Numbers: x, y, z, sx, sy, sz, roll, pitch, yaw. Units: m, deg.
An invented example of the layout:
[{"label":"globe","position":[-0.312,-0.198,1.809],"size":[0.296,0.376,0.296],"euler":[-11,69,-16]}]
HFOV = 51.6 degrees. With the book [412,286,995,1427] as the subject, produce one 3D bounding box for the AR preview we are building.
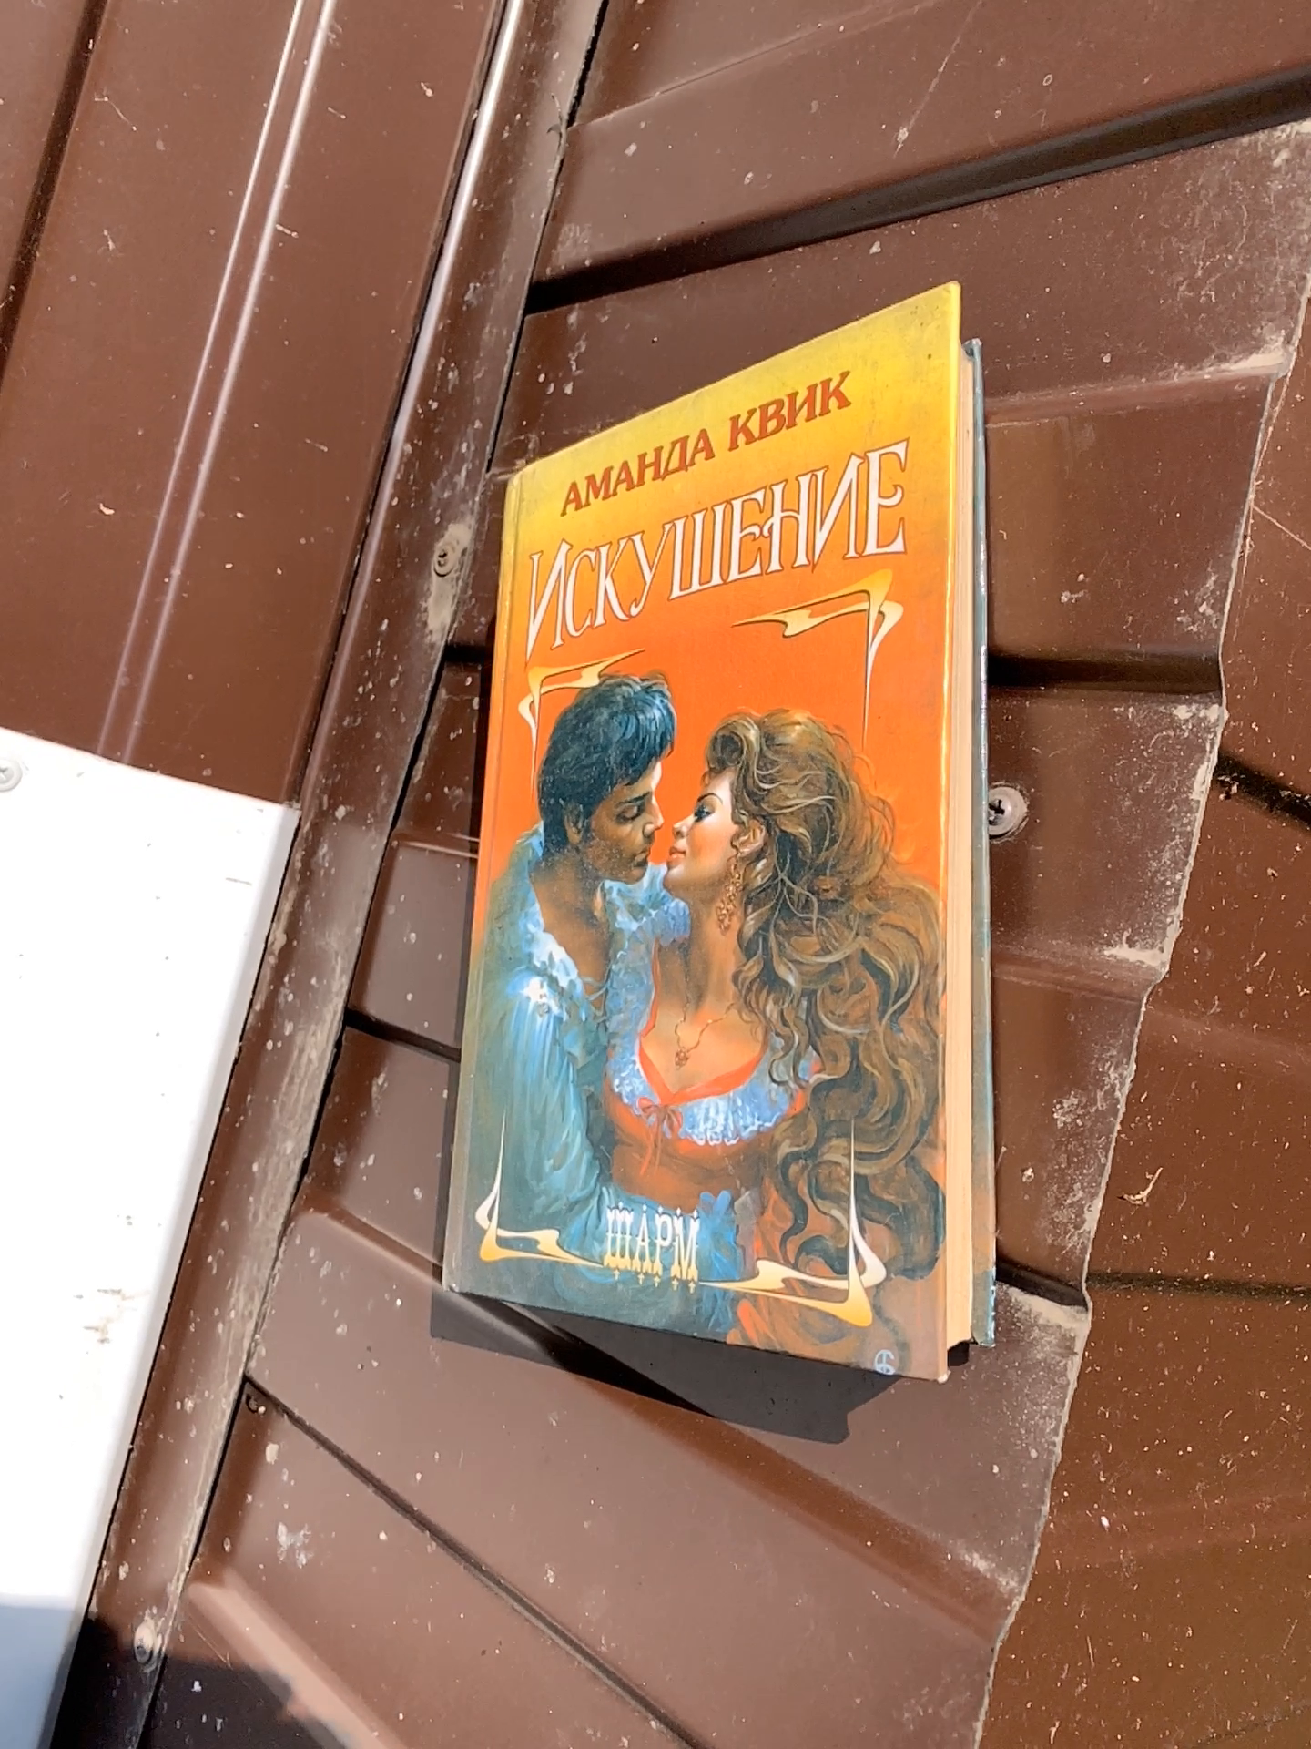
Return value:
[{"label":"book","position":[0.006,-0.003,0.288],"size":[0.135,0.024,0.200],"euler":[-6,77,44]}]
